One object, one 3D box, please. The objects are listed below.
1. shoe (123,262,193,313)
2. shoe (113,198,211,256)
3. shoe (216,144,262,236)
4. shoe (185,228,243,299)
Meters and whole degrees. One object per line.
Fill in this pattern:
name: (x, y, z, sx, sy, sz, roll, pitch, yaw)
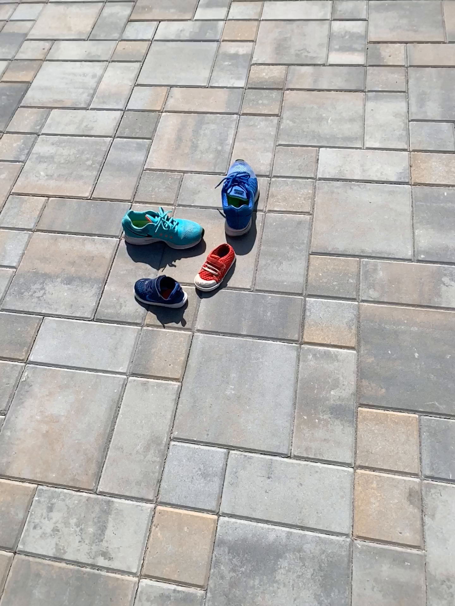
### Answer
shoe: (-0.176, -0.040, 1.199, 0.150, 0.070, 0.080, 12, 63, 11)
shoe: (-0.178, -0.212, 1.296, 0.240, 0.100, 0.100, 6, 62, 9)
shoe: (0.037, -0.322, 1.318, 0.110, 0.110, 0.241, 1, 61, 6)
shoe: (-0.032, -0.105, 1.228, 0.080, 0.080, 0.150, 27, 66, 18)
